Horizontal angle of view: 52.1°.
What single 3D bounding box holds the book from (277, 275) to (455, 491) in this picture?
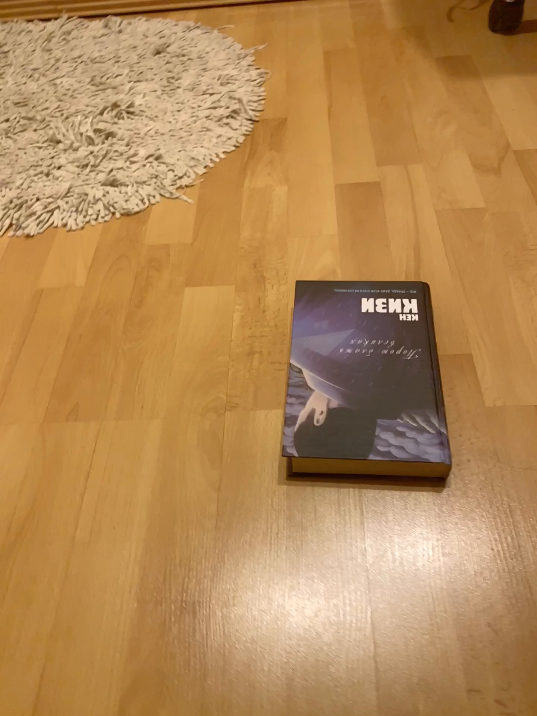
[{"bbox_3d":[0.093,0.014,0.554,0.150,0.050,0.225,2,53,6],"label":"book"}]
